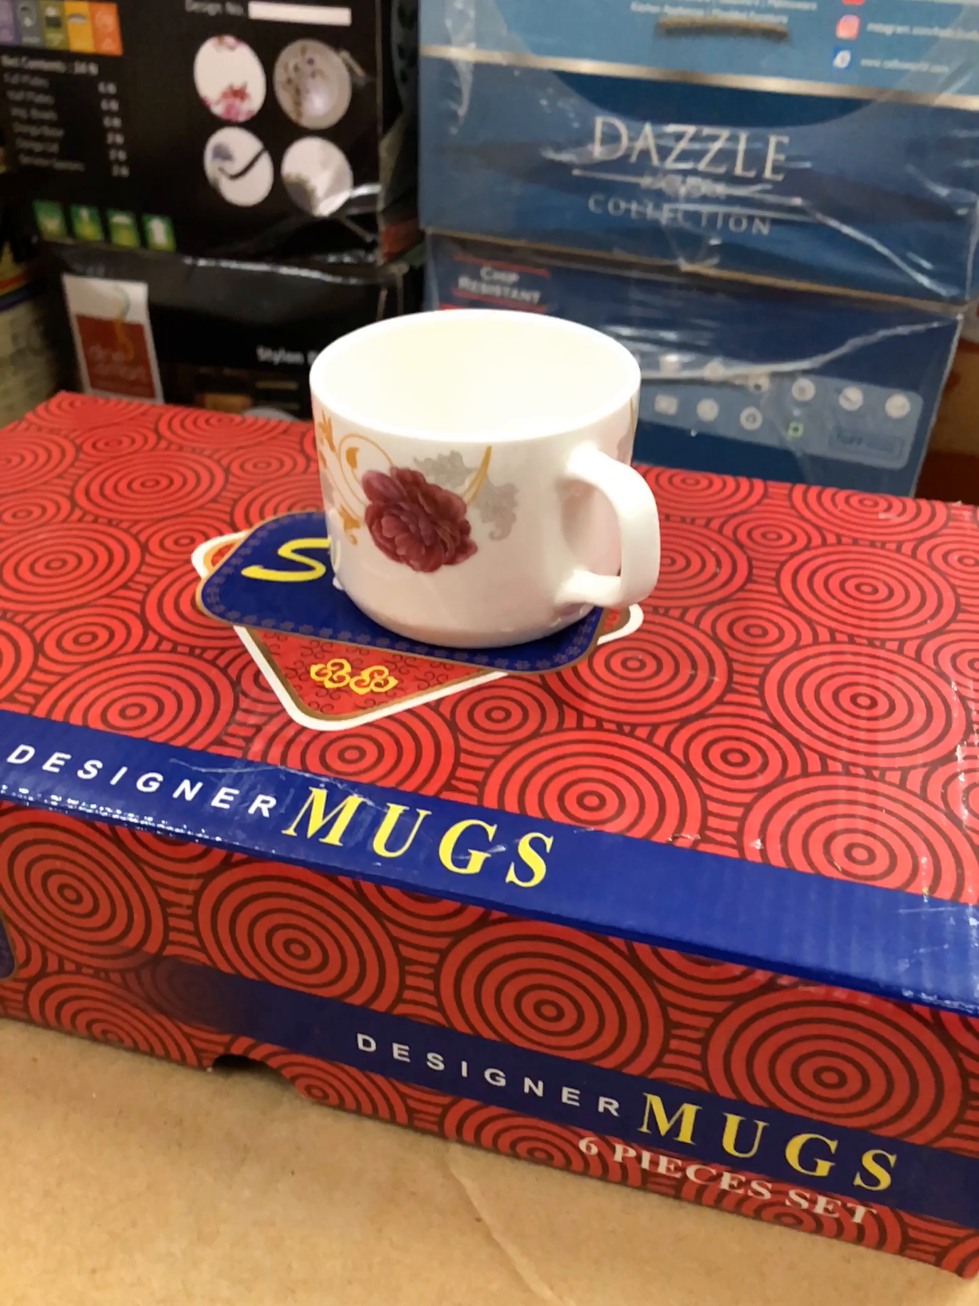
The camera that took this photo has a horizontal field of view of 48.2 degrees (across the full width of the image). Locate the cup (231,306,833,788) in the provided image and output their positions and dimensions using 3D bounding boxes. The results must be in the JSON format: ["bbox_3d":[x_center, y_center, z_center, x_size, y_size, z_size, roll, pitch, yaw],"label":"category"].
[{"bbox_3d":[0.006,-0.032,0.243,0.080,0.050,0.100,-24,43,-33],"label":"cup"}]
